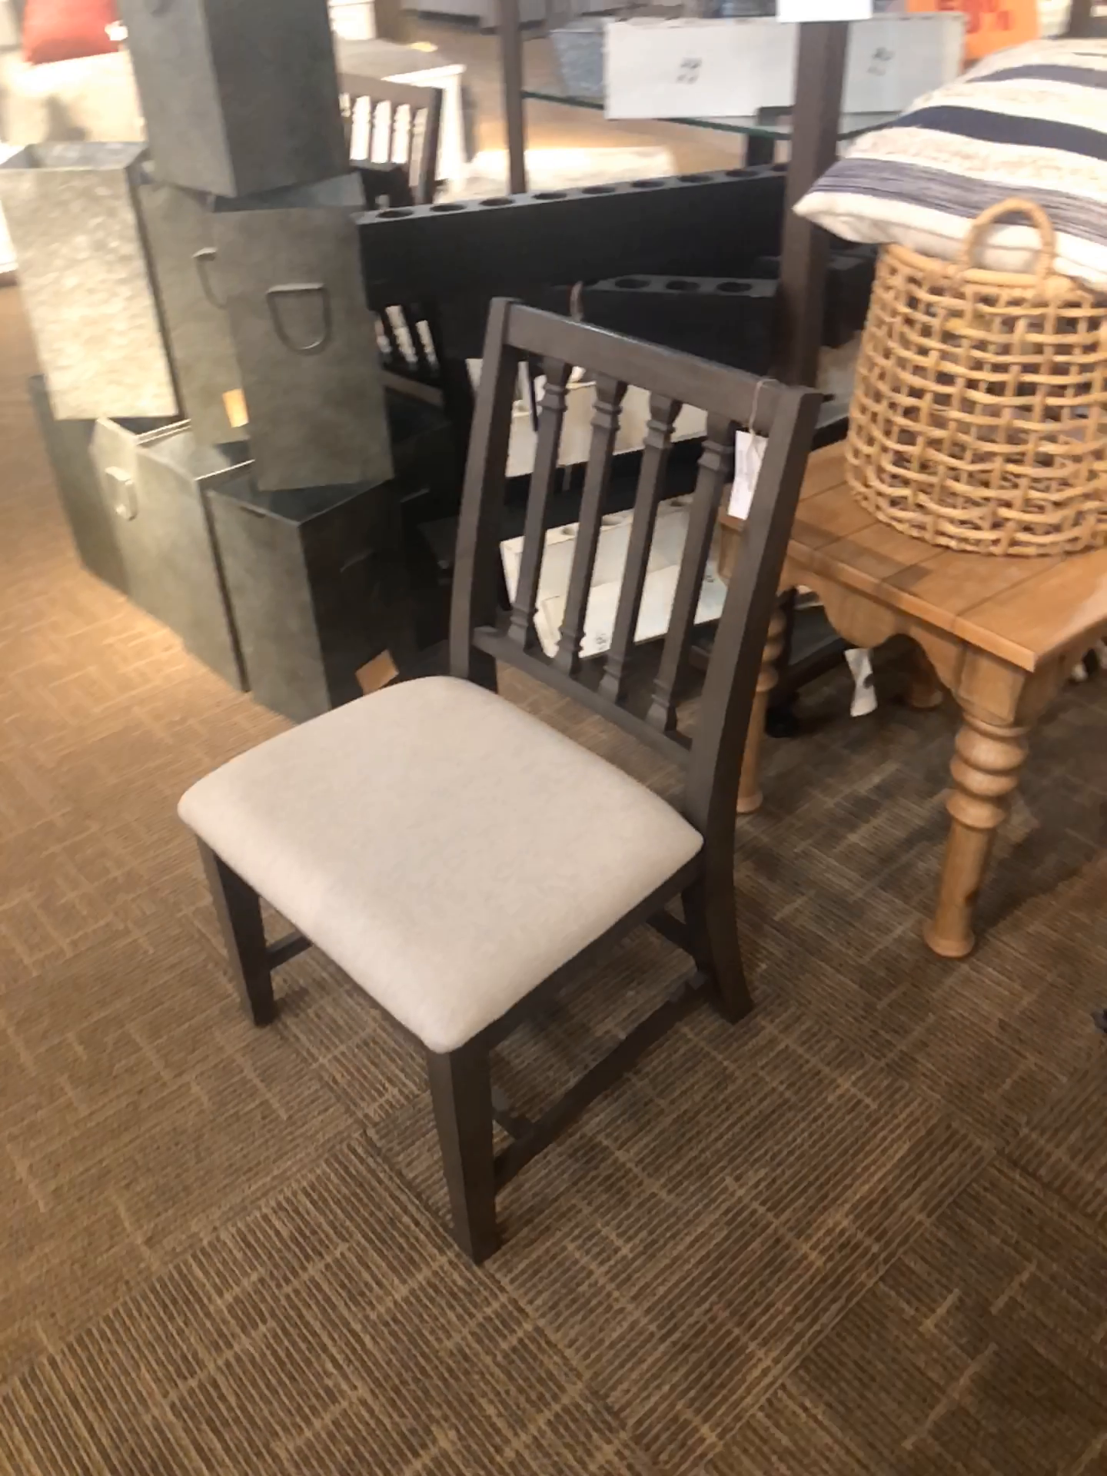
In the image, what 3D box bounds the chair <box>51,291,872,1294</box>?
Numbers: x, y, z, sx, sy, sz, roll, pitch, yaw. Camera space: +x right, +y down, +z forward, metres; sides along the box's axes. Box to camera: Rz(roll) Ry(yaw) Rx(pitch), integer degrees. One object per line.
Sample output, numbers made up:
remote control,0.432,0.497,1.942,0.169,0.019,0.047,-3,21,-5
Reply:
chair,-0.089,0.039,1.483,0.601,0.905,0.582,-28,43,-30
